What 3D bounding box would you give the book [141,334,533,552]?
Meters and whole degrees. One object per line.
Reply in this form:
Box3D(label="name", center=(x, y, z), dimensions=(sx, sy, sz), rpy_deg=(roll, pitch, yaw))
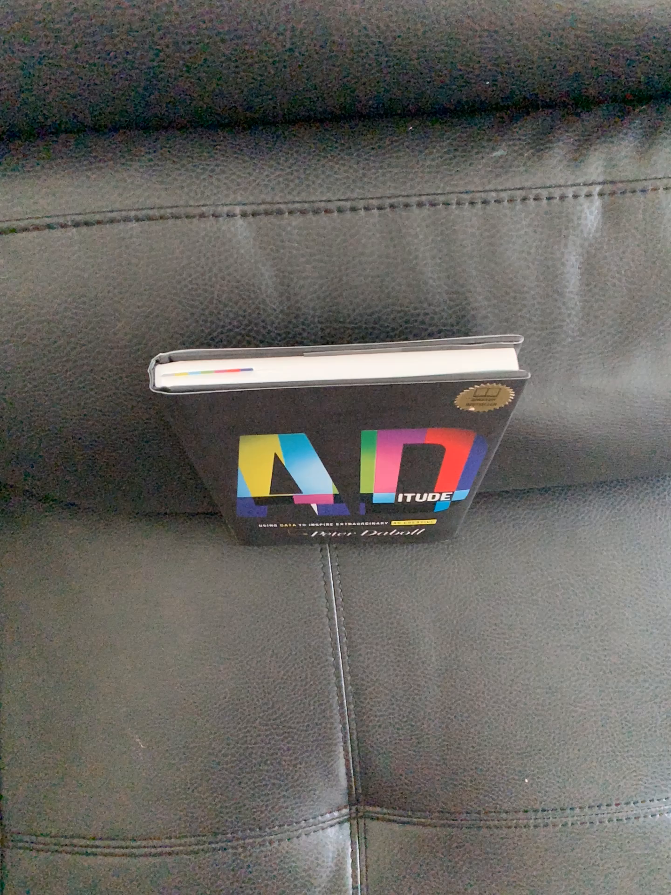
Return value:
Box3D(label="book", center=(0.004, 0.014, 0.394), dimensions=(0.160, 0.236, 0.025), rpy_deg=(-1, 66, 2))
